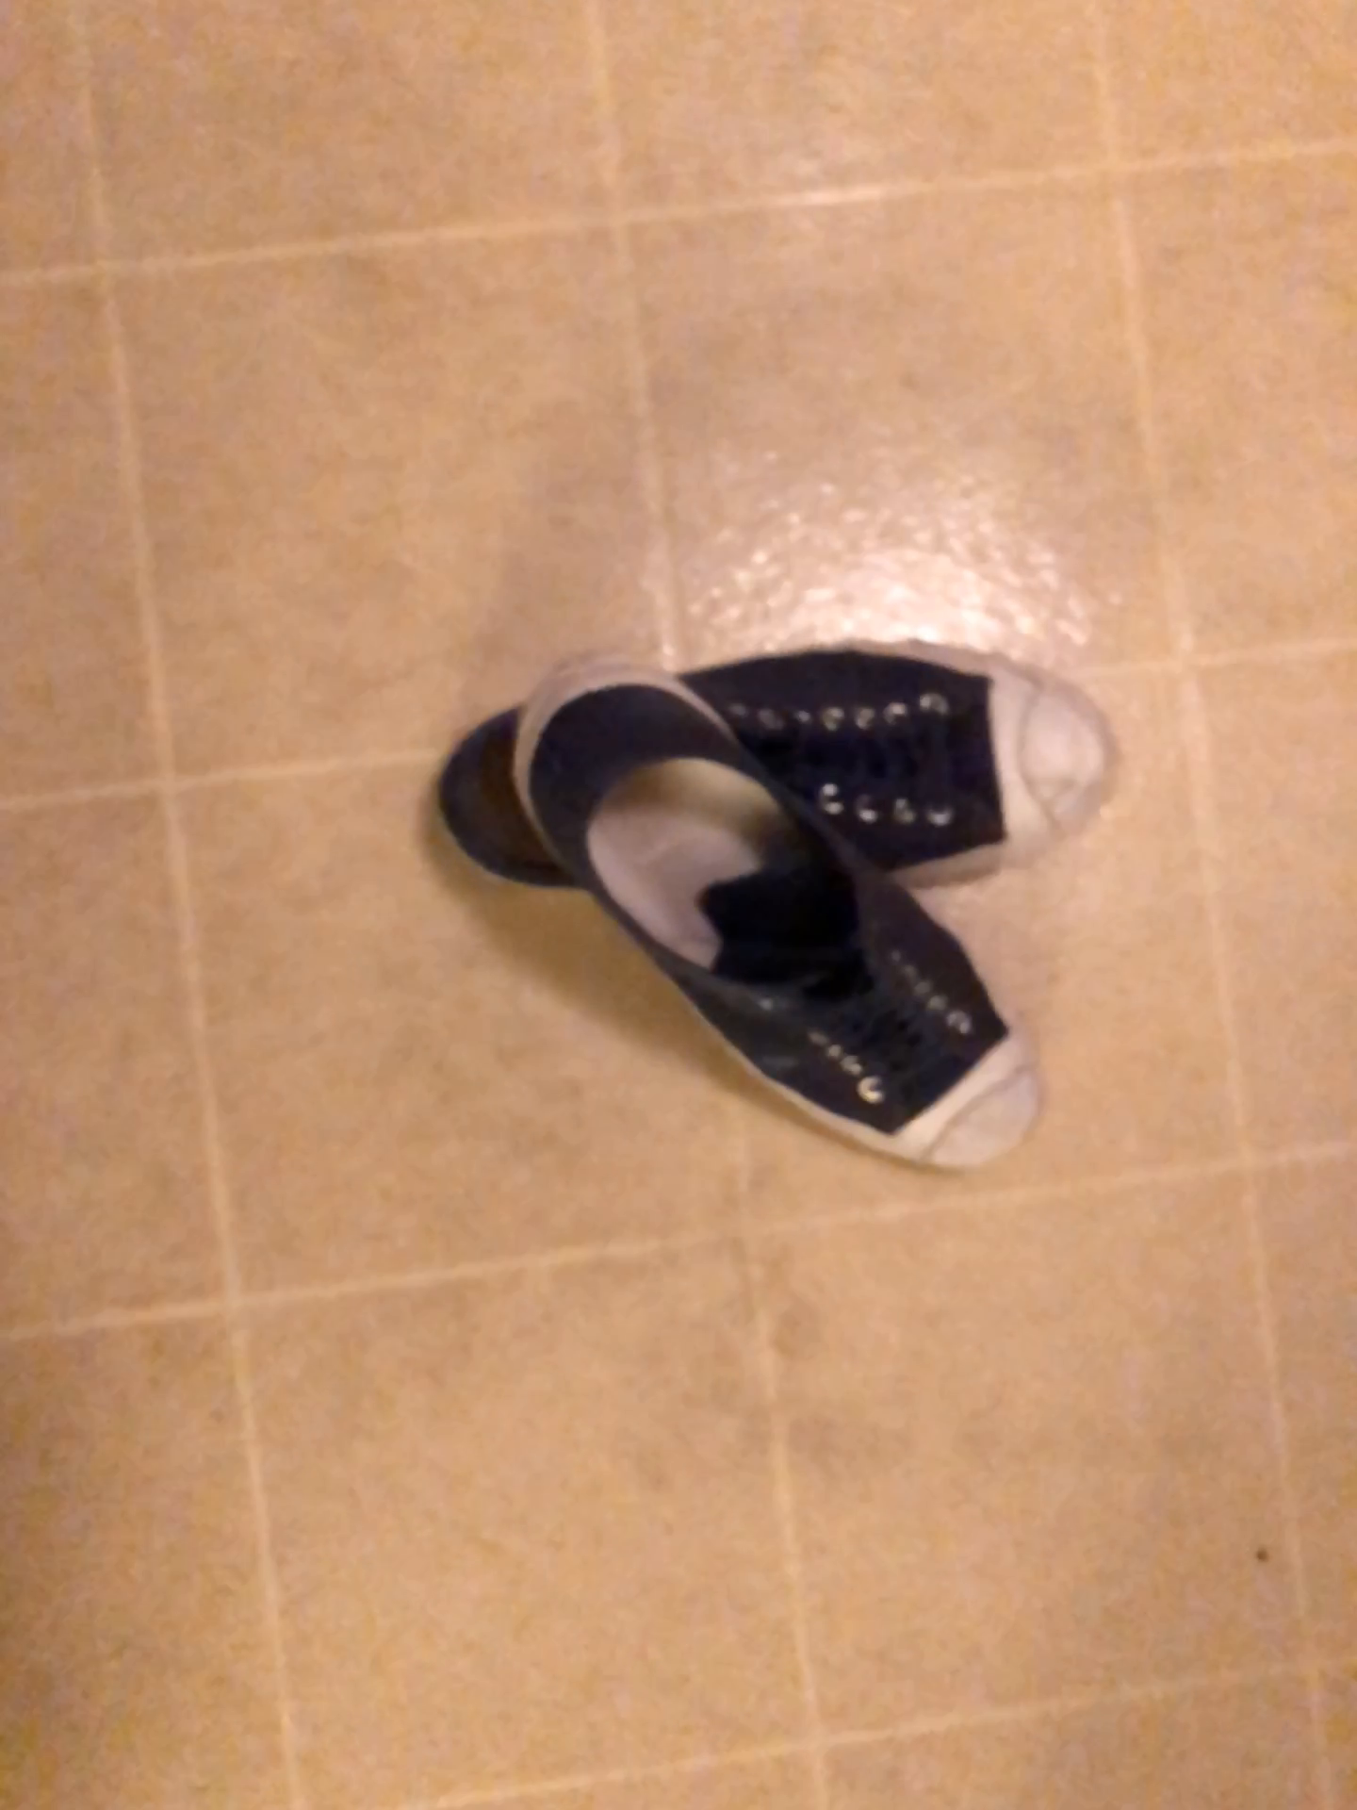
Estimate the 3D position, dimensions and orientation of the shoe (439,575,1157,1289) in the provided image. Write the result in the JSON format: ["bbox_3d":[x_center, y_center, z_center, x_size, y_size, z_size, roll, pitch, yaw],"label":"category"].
[{"bbox_3d":[0.049,0.018,0.598,0.100,0.100,0.290,-42,116,15],"label":"shoe"}]

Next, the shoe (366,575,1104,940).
[{"bbox_3d":[0.023,-0.063,0.644,0.290,0.080,0.110,-8,94,-10],"label":"shoe"}]
